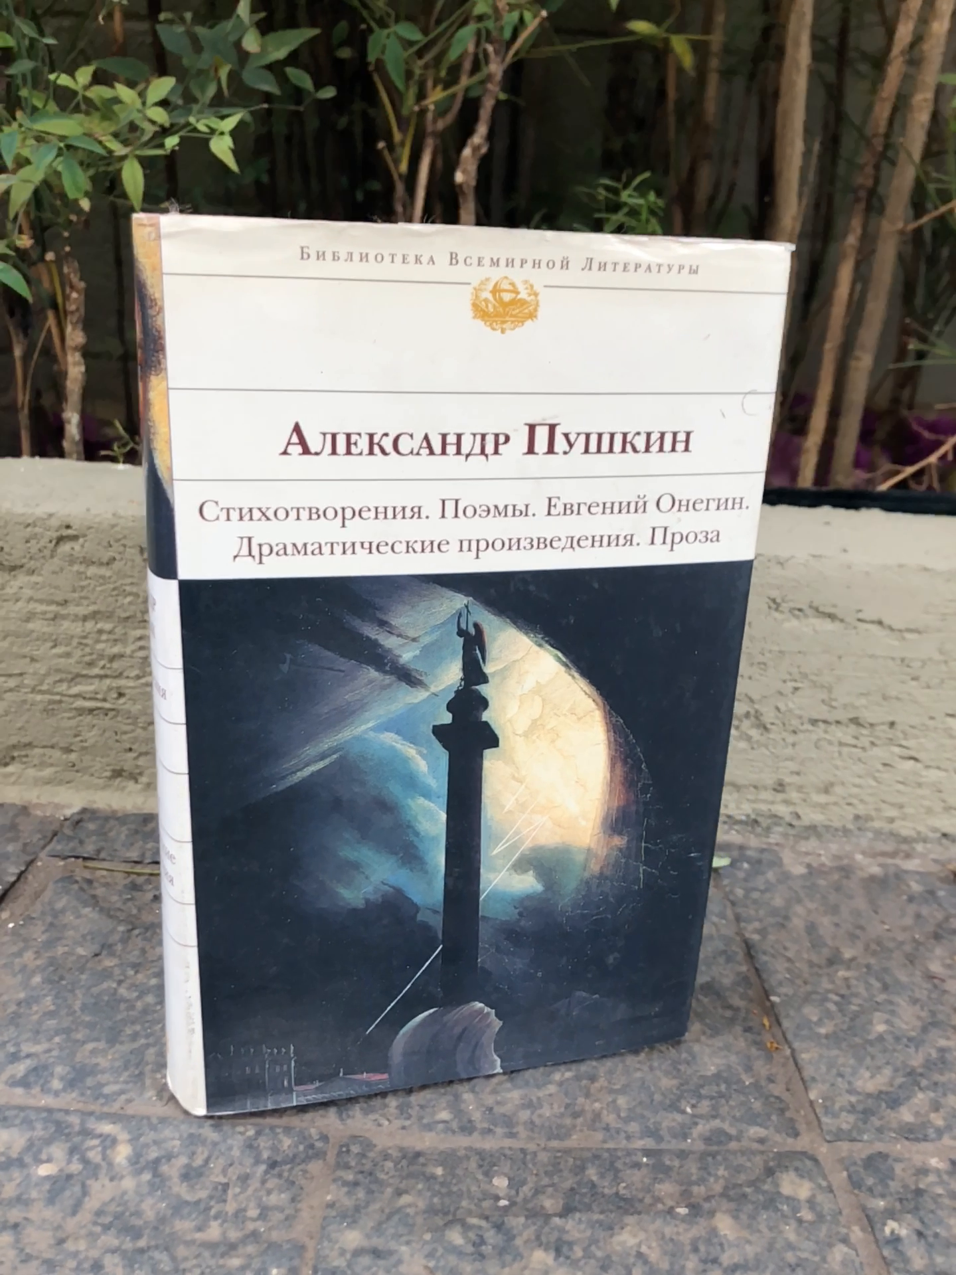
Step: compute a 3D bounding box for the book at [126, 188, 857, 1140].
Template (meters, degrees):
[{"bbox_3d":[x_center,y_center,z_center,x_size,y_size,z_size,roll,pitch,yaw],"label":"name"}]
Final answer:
[{"bbox_3d":[-0.003,0.008,0.261,0.150,0.204,0.050,-2,18,-17],"label":"book"}]
